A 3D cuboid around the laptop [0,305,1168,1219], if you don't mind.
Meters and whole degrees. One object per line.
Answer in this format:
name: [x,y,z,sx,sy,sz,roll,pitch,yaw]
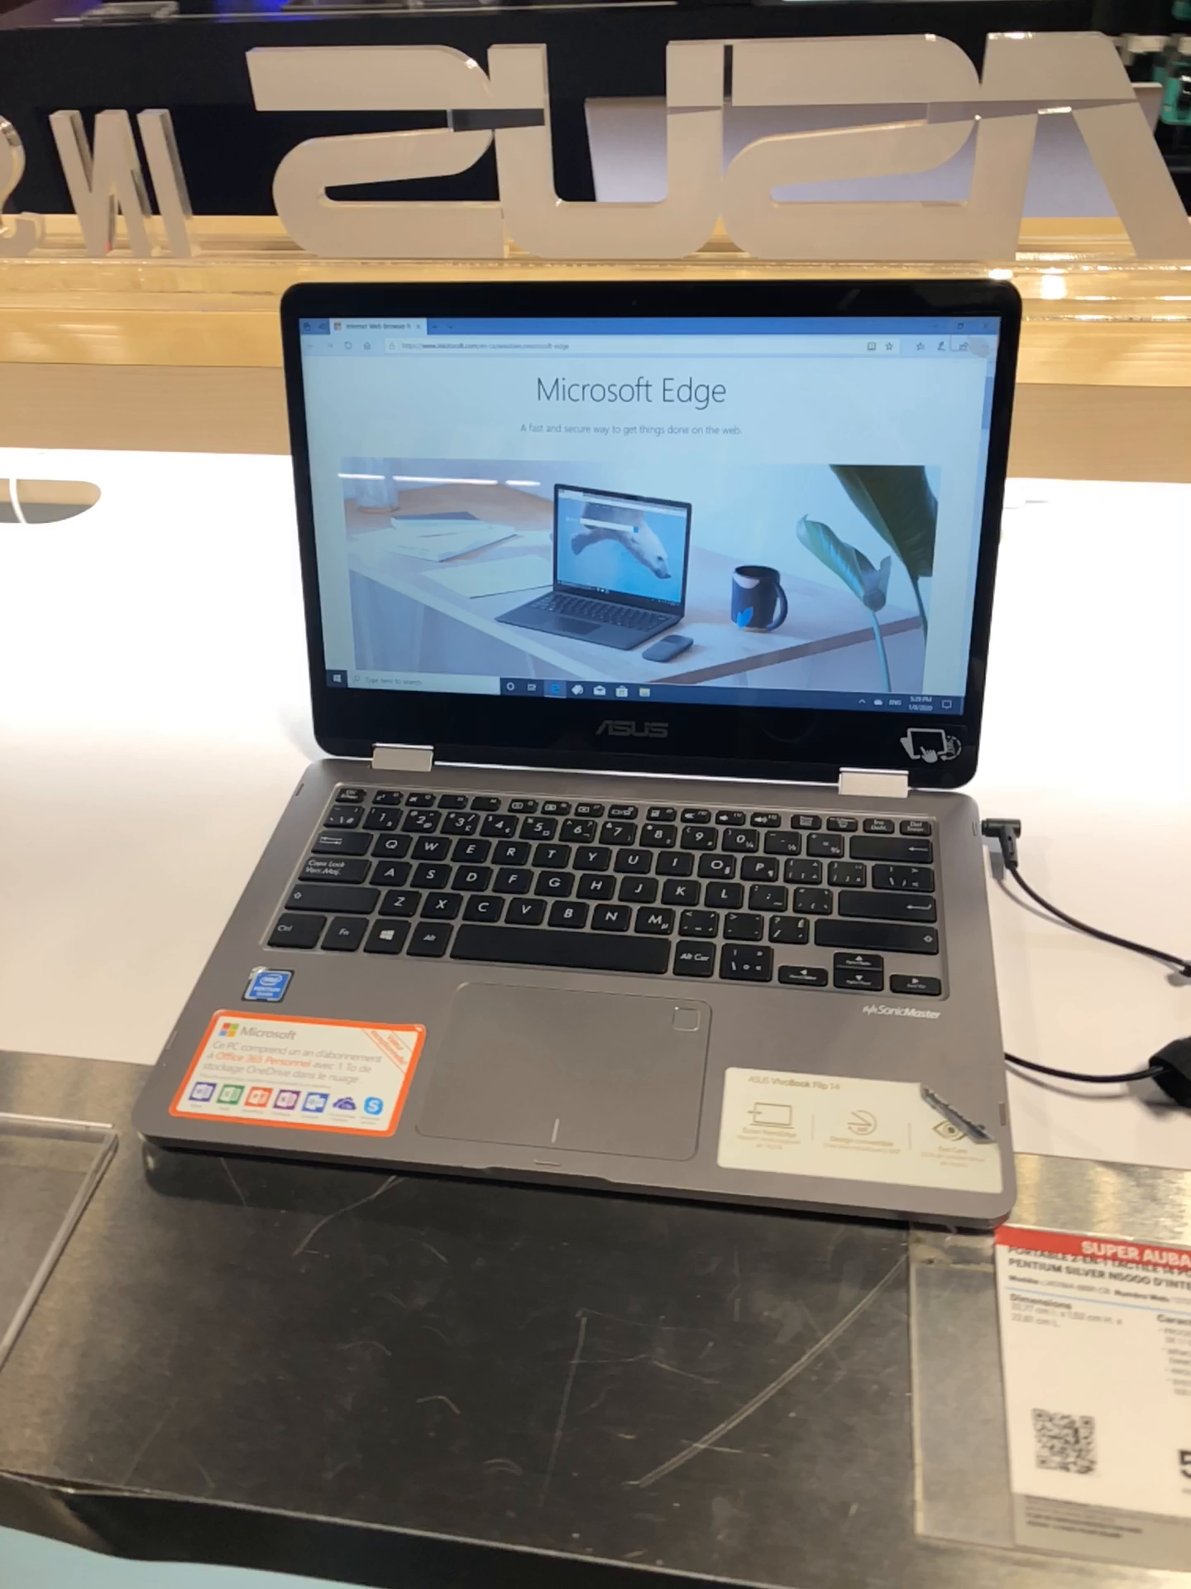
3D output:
laptop: [0.003,-0.036,0.491,0.304,0.212,0.279,3,37,10]
